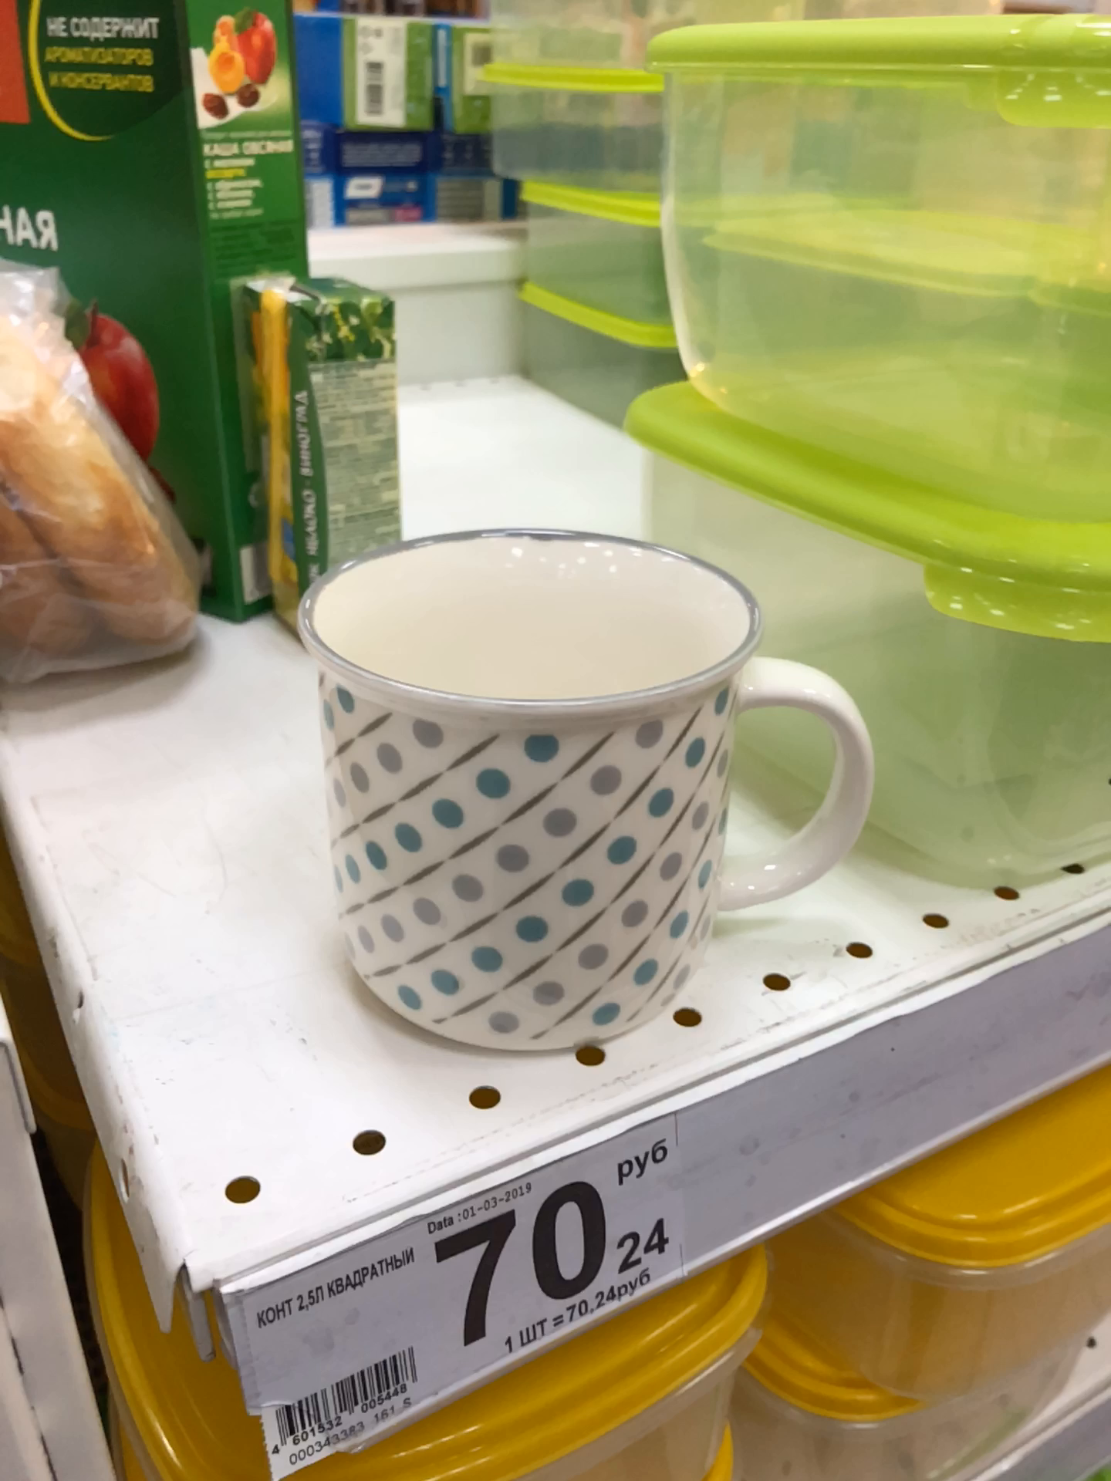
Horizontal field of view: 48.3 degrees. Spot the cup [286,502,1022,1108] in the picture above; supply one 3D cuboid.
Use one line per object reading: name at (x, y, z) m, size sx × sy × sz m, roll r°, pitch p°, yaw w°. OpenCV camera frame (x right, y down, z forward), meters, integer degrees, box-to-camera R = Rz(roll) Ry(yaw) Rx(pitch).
cup at (0.011, 0.005, 0.273) m, size 0.127 × 0.082 × 0.096 m, roll -6°, pitch 29°, yaw -13°
